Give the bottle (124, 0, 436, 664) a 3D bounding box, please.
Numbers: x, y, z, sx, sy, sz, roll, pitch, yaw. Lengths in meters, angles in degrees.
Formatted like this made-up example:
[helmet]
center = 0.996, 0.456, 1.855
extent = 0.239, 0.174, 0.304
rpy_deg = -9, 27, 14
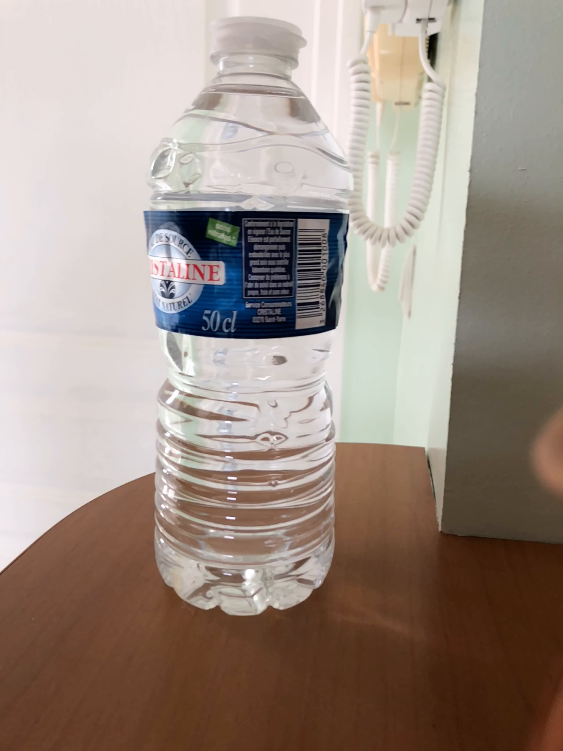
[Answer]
[bottle]
center = -0.003, -0.017, 0.217
extent = 0.070, 0.189, 0.070
rpy_deg = 2, 12, 0
